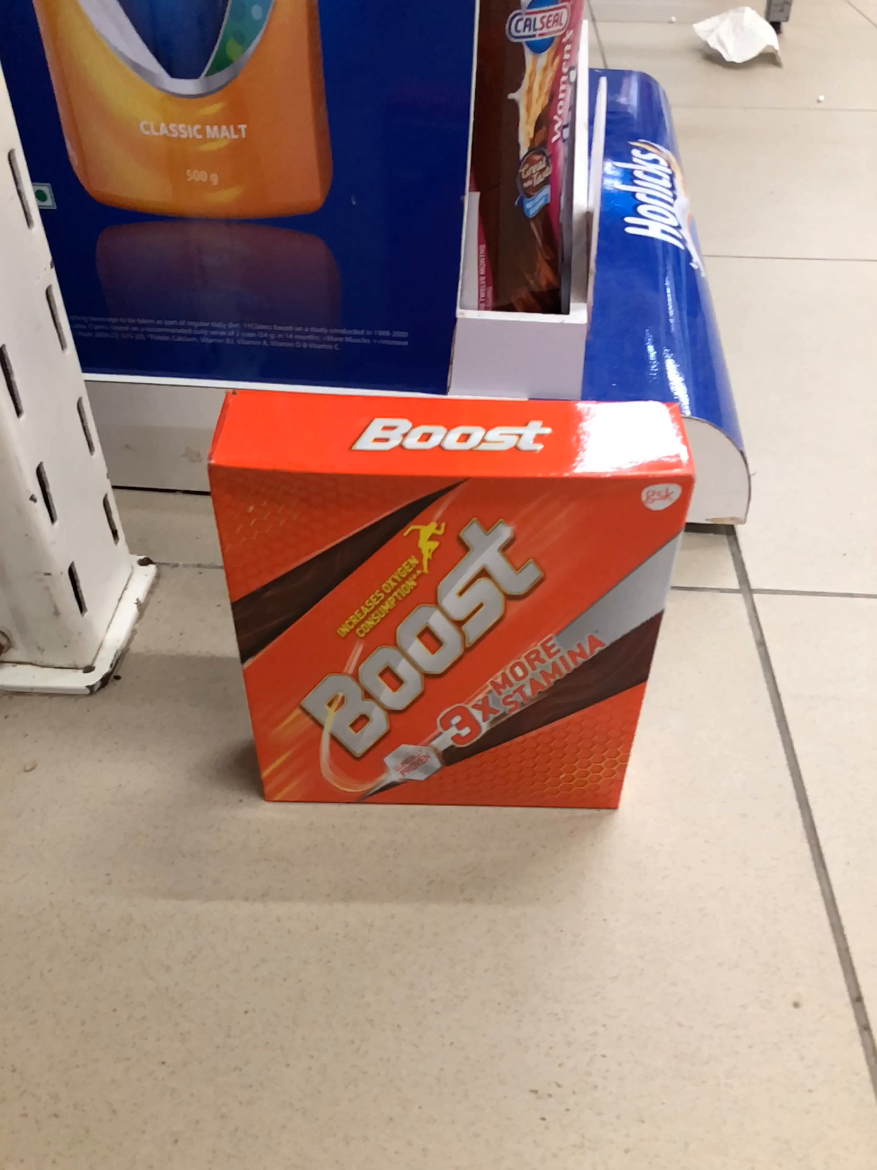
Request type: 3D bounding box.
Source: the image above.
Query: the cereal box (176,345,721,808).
[{"bbox_3d":[0.000,0.007,0.362,0.160,0.179,0.050,1,41,-2],"label":"cereal box"}]
